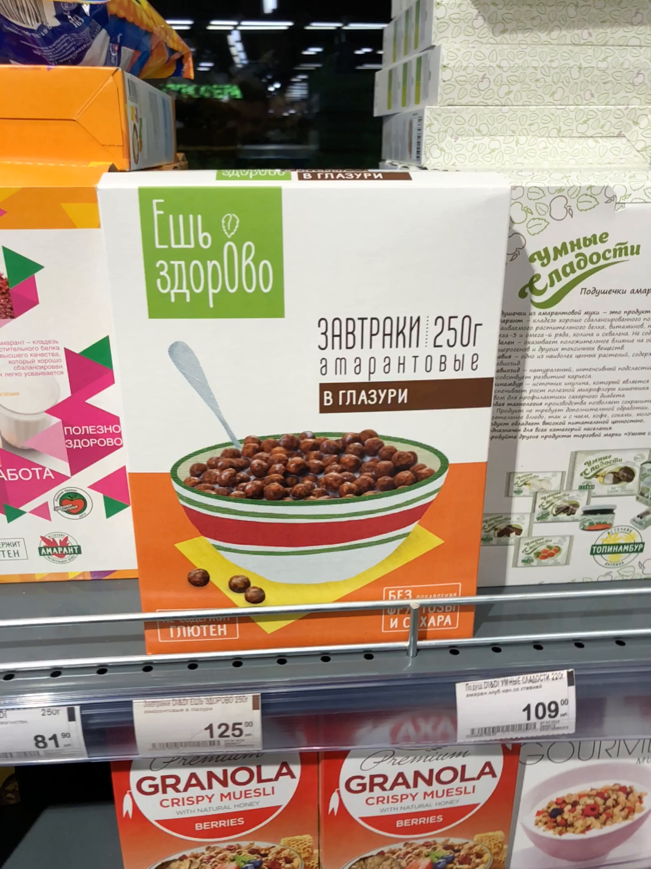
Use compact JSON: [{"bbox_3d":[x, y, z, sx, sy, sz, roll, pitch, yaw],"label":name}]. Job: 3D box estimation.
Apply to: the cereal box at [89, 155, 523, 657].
[{"bbox_3d":[-0.008,-0.010,0.383,0.190,0.259,0.050,-2,21,-5],"label":"cereal box"}]
